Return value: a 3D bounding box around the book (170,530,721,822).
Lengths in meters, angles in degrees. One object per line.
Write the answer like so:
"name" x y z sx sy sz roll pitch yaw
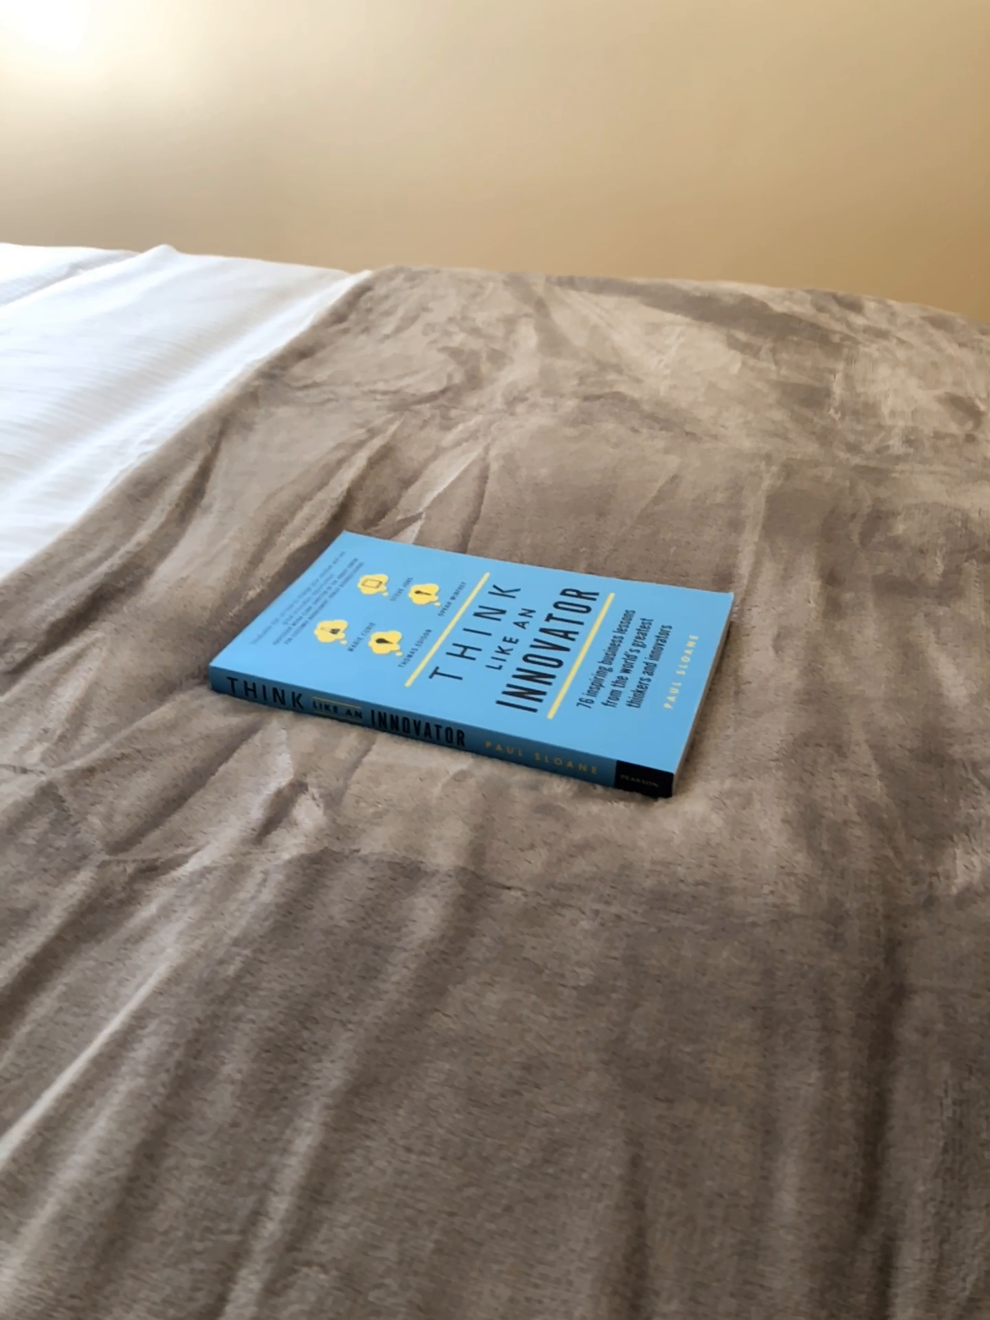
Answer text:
"book" -0.017 -0.003 0.511 0.220 0.020 0.141 11 38 16
